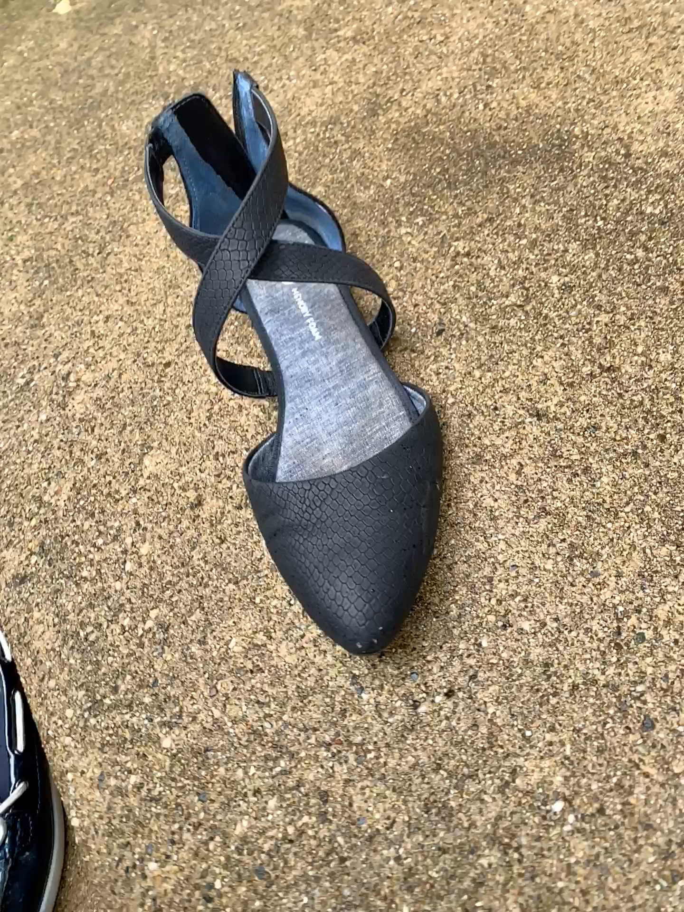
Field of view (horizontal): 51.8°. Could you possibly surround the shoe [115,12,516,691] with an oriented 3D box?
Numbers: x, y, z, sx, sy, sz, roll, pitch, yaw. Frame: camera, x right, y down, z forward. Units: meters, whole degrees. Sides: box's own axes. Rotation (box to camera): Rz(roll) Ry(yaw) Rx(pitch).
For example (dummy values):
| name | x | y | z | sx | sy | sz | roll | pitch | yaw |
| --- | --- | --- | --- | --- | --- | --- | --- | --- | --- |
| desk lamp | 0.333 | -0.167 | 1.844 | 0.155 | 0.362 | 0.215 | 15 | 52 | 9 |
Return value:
| name | x | y | z | sx | sy | sz | roll | pitch | yaw |
| --- | --- | --- | --- | --- | --- | --- | --- | --- | --- |
| shoe | -0.020 | -0.054 | 0.306 | 0.097 | 0.112 | 0.264 | -19 | 57 | 7 |
